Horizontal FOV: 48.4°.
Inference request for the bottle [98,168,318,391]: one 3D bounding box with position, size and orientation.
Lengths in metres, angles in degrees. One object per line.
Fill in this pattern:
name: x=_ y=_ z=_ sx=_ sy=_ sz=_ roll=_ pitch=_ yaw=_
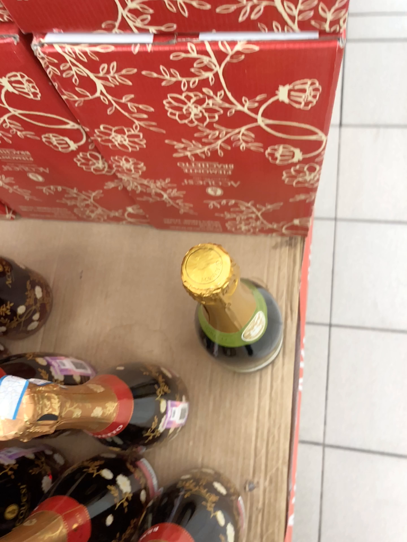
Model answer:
bottle: x=0.024 y=0.037 z=0.395 sx=0.090 sy=0.290 sz=0.090 roll=-3 pitch=74 yaw=9
